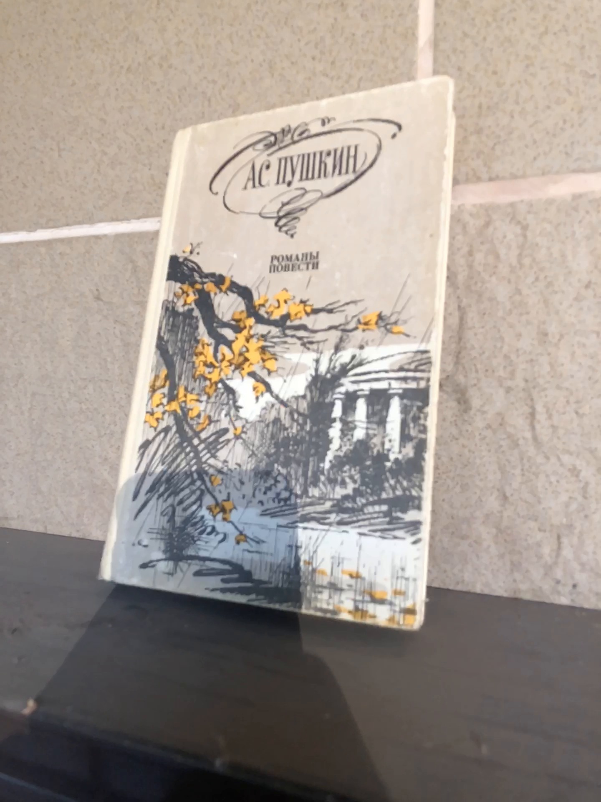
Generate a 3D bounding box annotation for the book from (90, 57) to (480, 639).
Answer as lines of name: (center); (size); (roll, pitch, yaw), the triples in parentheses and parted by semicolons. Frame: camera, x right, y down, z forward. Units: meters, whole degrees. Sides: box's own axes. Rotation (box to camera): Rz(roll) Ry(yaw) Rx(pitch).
book: (-0.003, -0.023, 0.260); (0.125, 0.198, 0.040); (1, -13, 25)
